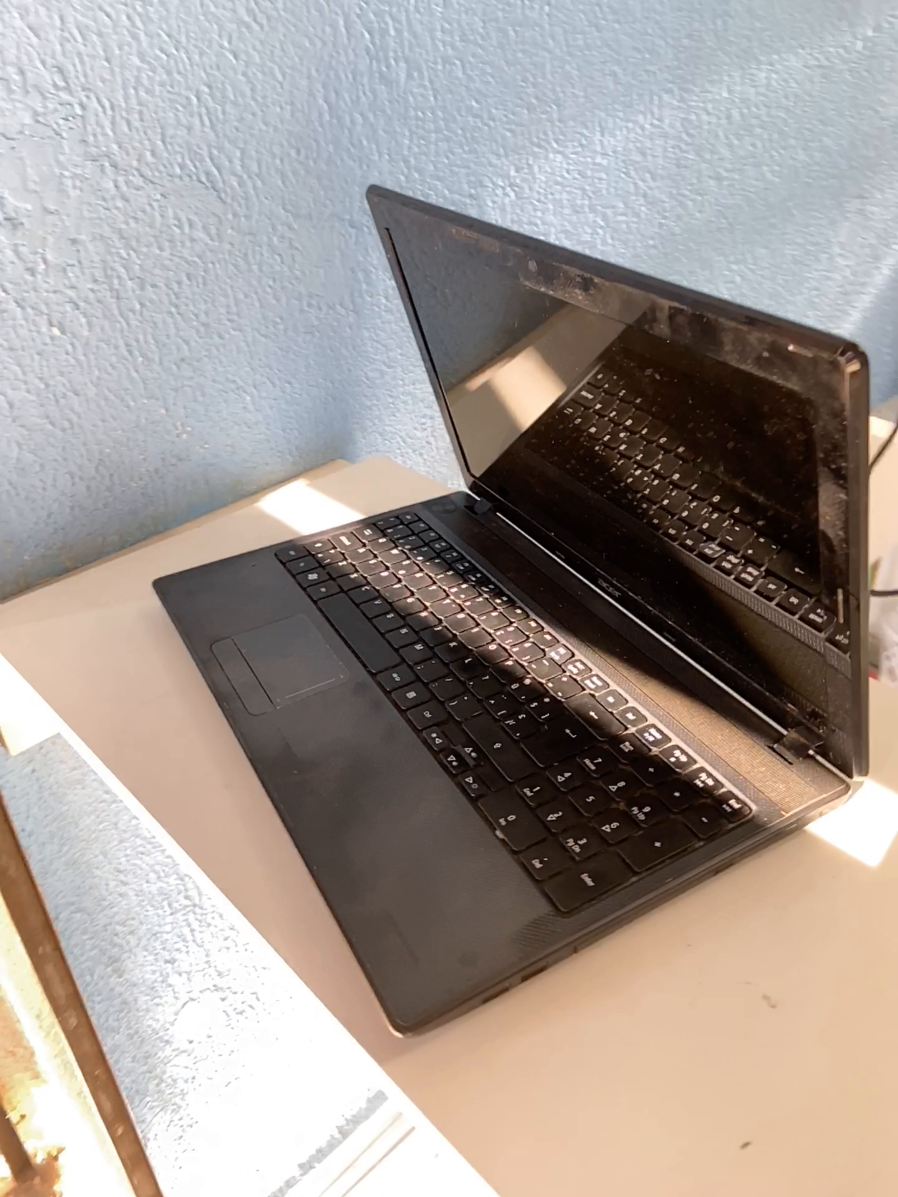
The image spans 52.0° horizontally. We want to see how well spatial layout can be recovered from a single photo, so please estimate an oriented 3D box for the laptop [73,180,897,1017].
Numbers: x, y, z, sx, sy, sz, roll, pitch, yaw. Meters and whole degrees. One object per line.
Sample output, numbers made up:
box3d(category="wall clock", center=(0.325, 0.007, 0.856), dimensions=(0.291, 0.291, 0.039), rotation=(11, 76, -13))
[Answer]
box3d(category="laptop", center=(-0.007, -0.058, 0.492), dimensions=(0.254, 0.234, 0.375), rotation=(-18, 36, -23))
